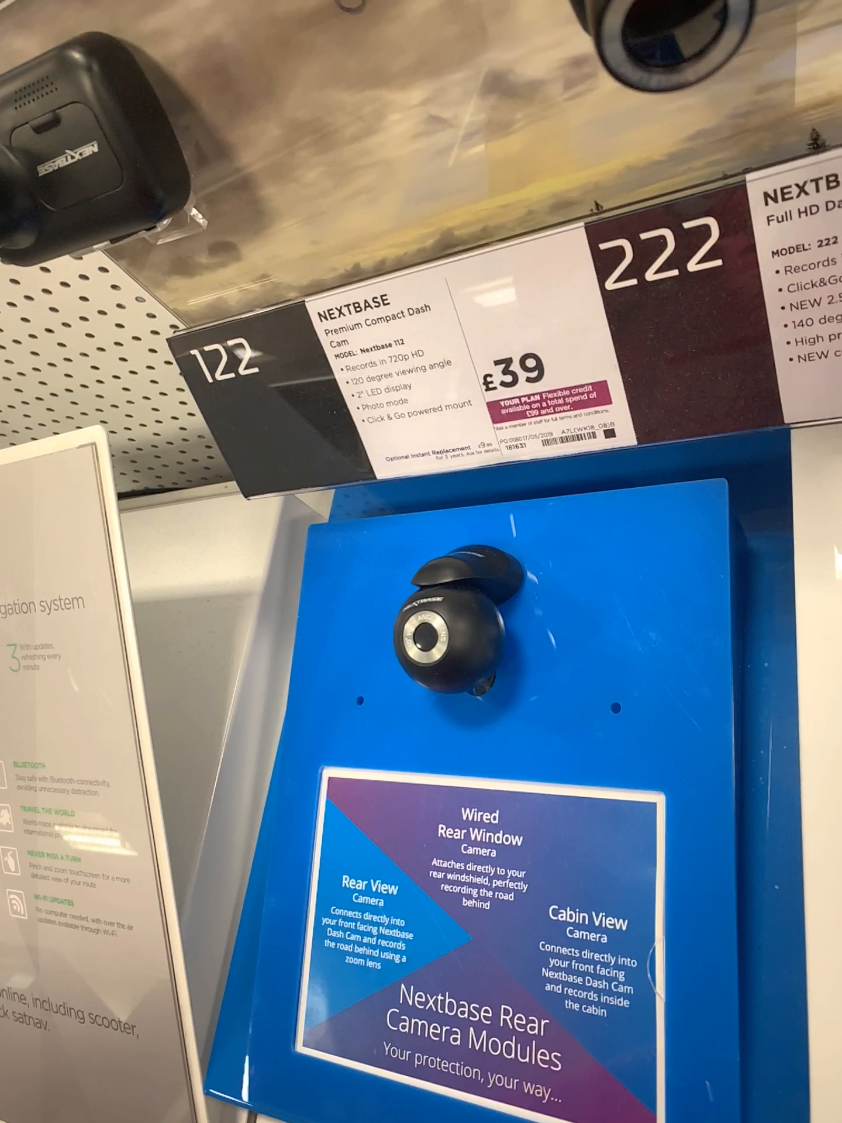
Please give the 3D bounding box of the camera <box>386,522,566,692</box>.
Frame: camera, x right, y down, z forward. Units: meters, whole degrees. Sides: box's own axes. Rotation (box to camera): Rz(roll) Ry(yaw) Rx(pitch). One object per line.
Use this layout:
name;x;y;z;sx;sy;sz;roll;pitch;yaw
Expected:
camera;0.019;0.018;0.287;0.040;0.050;0.050;-5;79;31
